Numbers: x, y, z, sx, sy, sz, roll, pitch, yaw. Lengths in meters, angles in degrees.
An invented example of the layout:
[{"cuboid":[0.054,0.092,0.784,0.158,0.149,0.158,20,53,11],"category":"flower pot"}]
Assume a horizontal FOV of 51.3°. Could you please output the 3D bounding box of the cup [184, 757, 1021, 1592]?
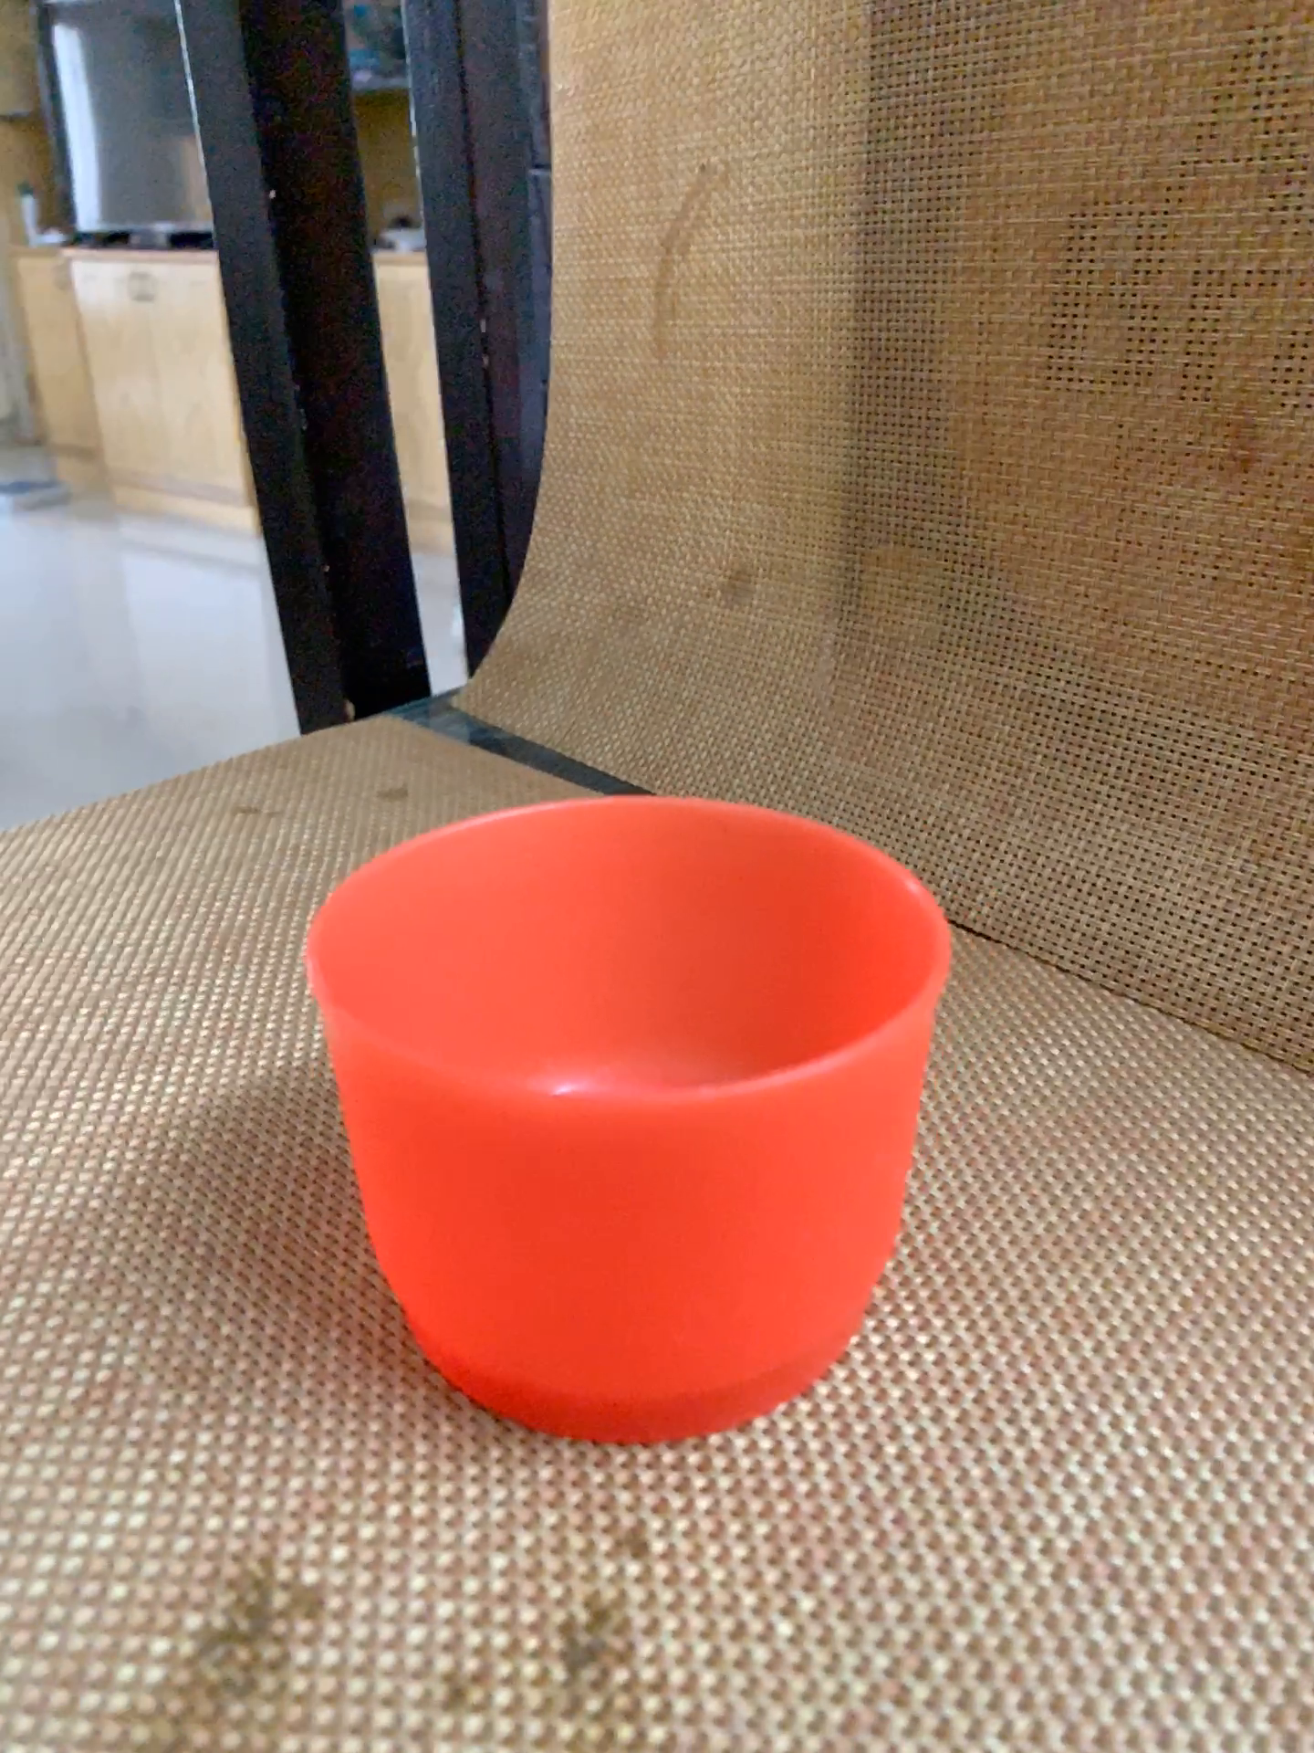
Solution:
[{"cuboid":[-0.009,0.026,0.167,0.070,0.050,0.070,0,25,0],"category":"cup"}]
